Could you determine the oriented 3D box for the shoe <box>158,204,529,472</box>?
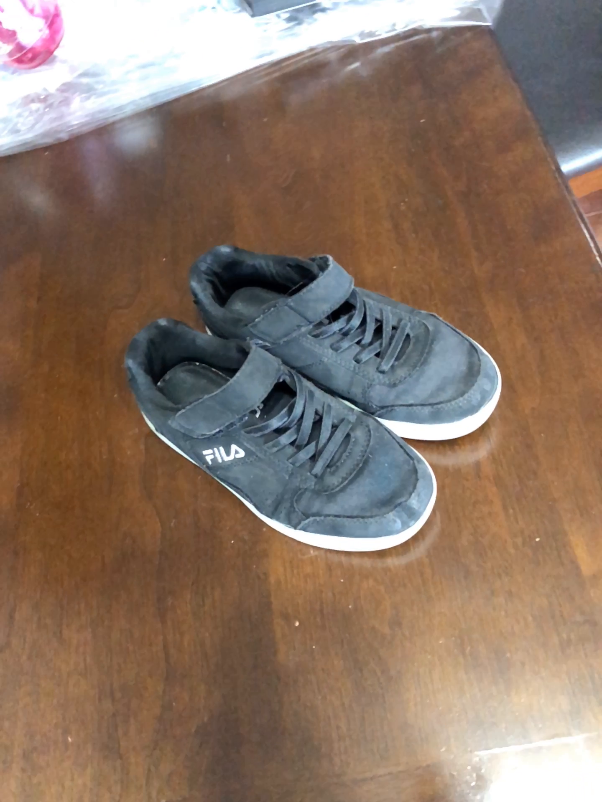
[{"bbox_3d":[0.027,-0.046,0.439,0.210,0.080,0.090,21,68,24],"label":"shoe"}]

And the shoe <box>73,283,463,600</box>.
[{"bbox_3d":[-0.020,0.018,0.407,0.210,0.080,0.090,25,70,26],"label":"shoe"}]
